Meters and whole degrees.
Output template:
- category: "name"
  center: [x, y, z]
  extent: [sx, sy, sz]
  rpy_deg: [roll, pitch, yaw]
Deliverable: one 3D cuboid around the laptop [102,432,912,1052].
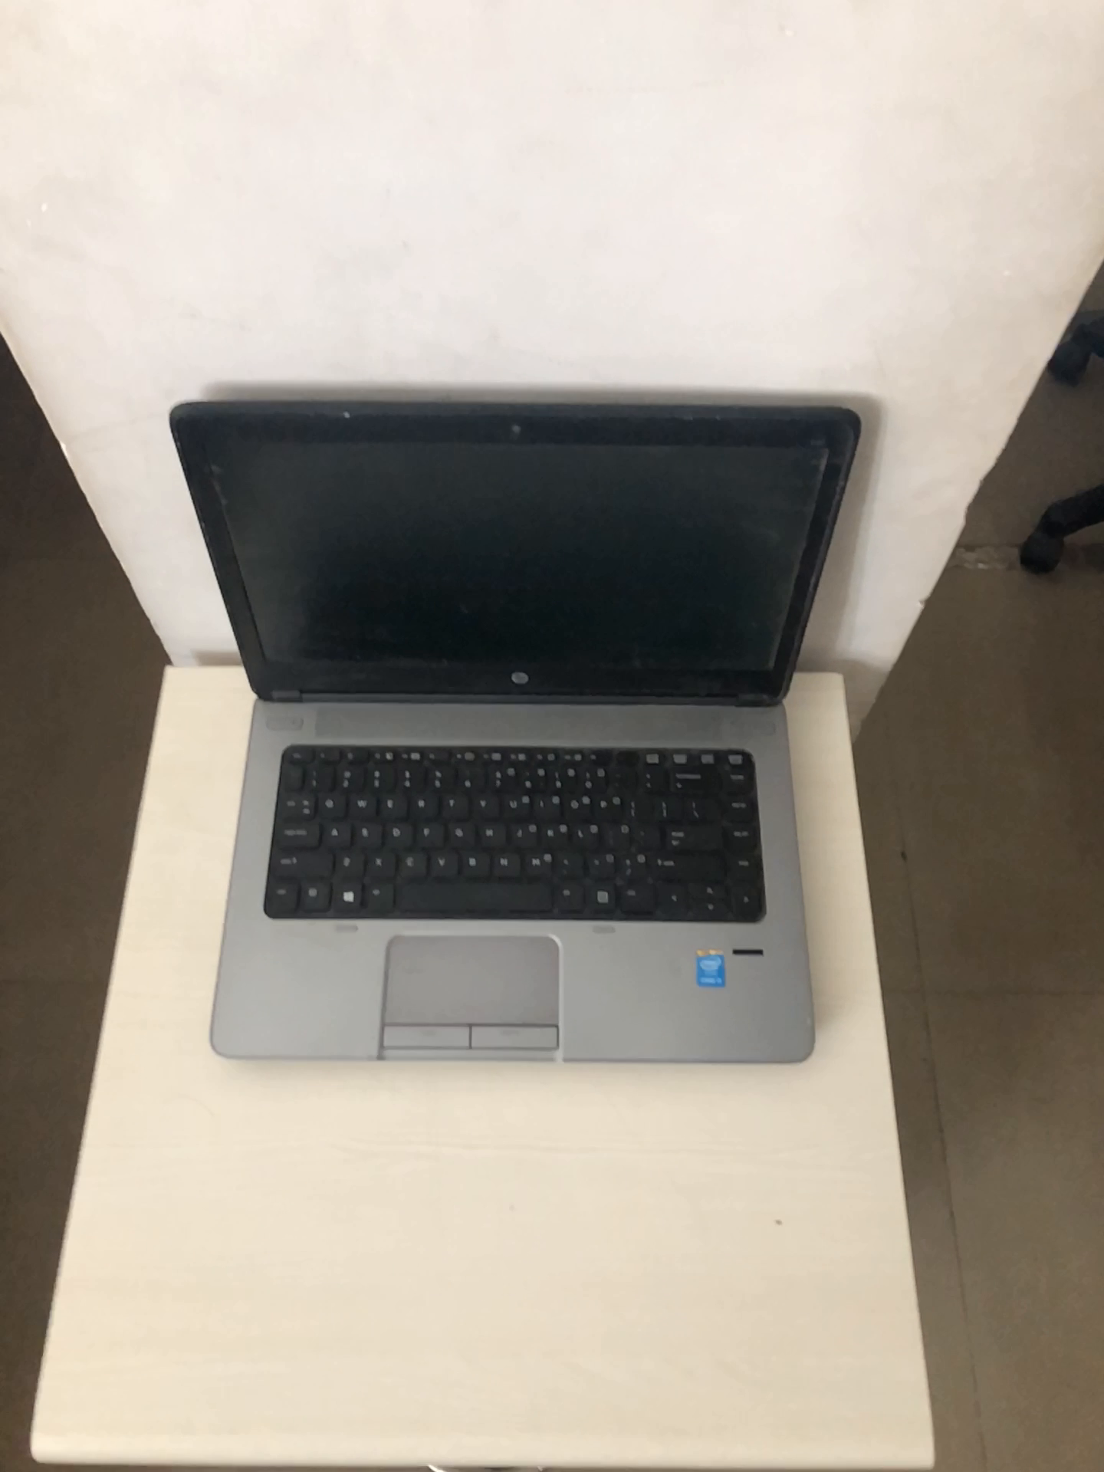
- category: "laptop"
  center: [-0.012, 0.014, 0.604]
  extent: [0.304, 0.210, 0.238]
  rpy_deg: [1, 63, 0]
